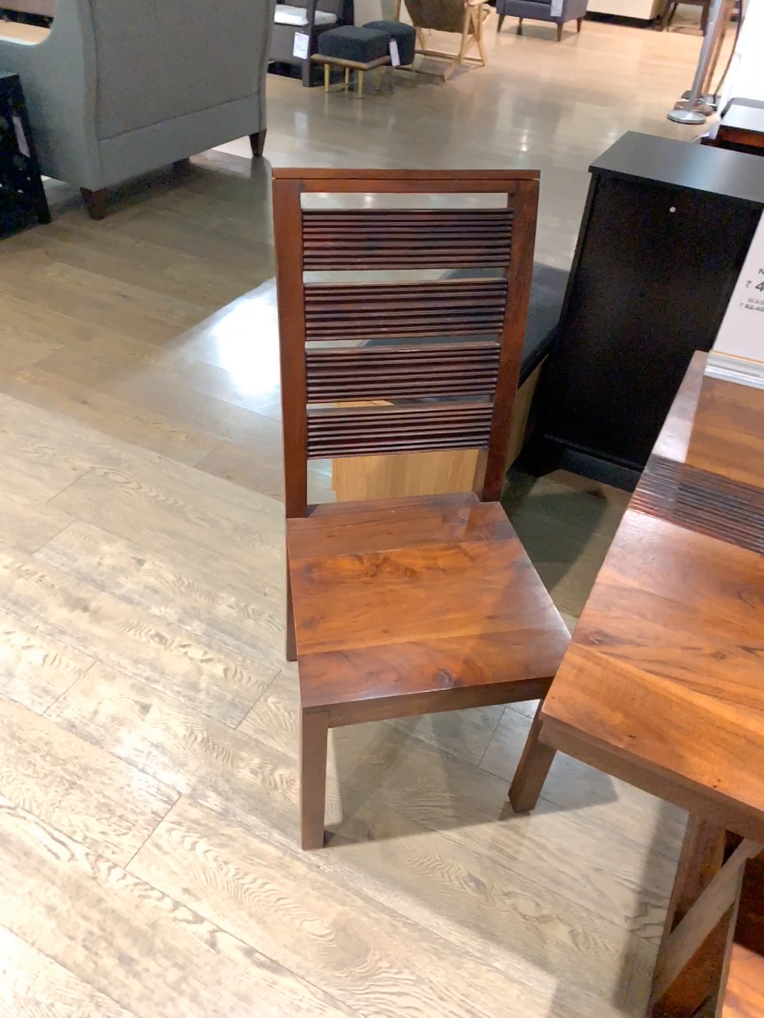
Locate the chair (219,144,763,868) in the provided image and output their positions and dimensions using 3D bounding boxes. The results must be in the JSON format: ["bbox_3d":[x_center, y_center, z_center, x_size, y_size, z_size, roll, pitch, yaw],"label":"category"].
[{"bbox_3d":[0.056,0.028,1.236,0.520,0.996,0.532,-5,41,-12],"label":"chair"}]
